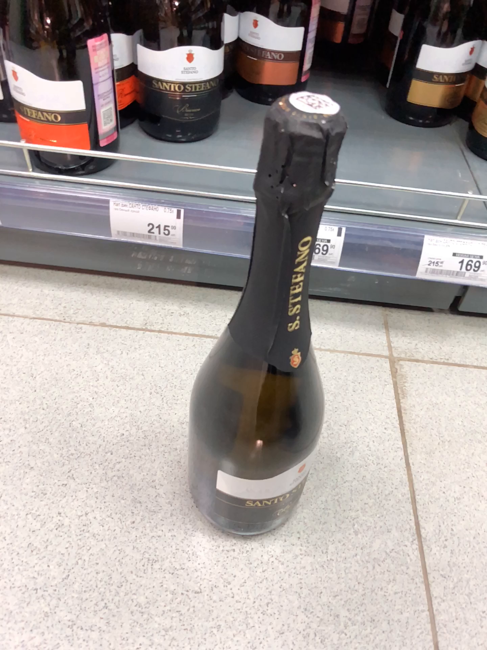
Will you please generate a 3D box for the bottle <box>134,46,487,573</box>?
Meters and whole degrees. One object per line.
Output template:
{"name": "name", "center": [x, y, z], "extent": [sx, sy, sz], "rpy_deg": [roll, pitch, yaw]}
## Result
{"name": "bottle", "center": [0.017, 0.015, 0.323], "extent": [0.110, 0.298, 0.100], "rpy_deg": [3, 44, -3]}
